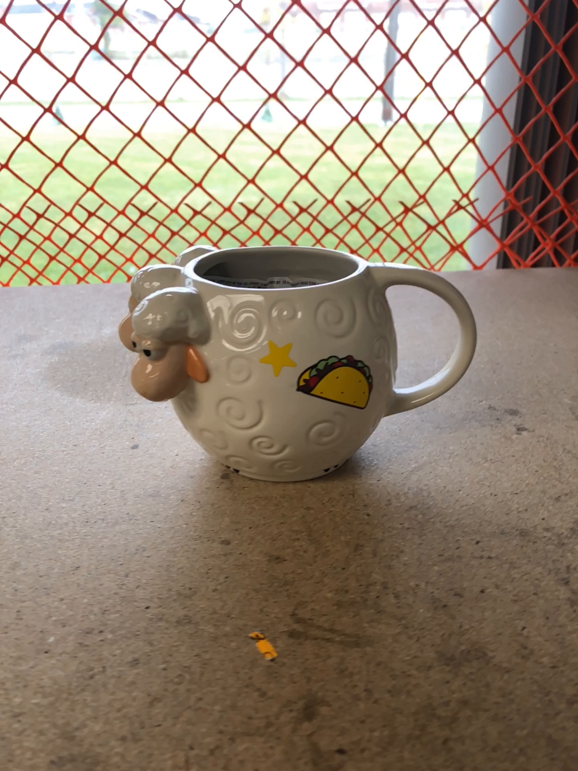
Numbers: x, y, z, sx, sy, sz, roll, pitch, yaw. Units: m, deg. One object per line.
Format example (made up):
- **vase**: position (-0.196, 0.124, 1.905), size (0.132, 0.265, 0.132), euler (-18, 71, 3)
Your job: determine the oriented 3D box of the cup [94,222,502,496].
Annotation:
- **cup**: position (0.003, -0.015, 0.285), size (0.146, 0.090, 0.076), euler (-3, 26, -3)
